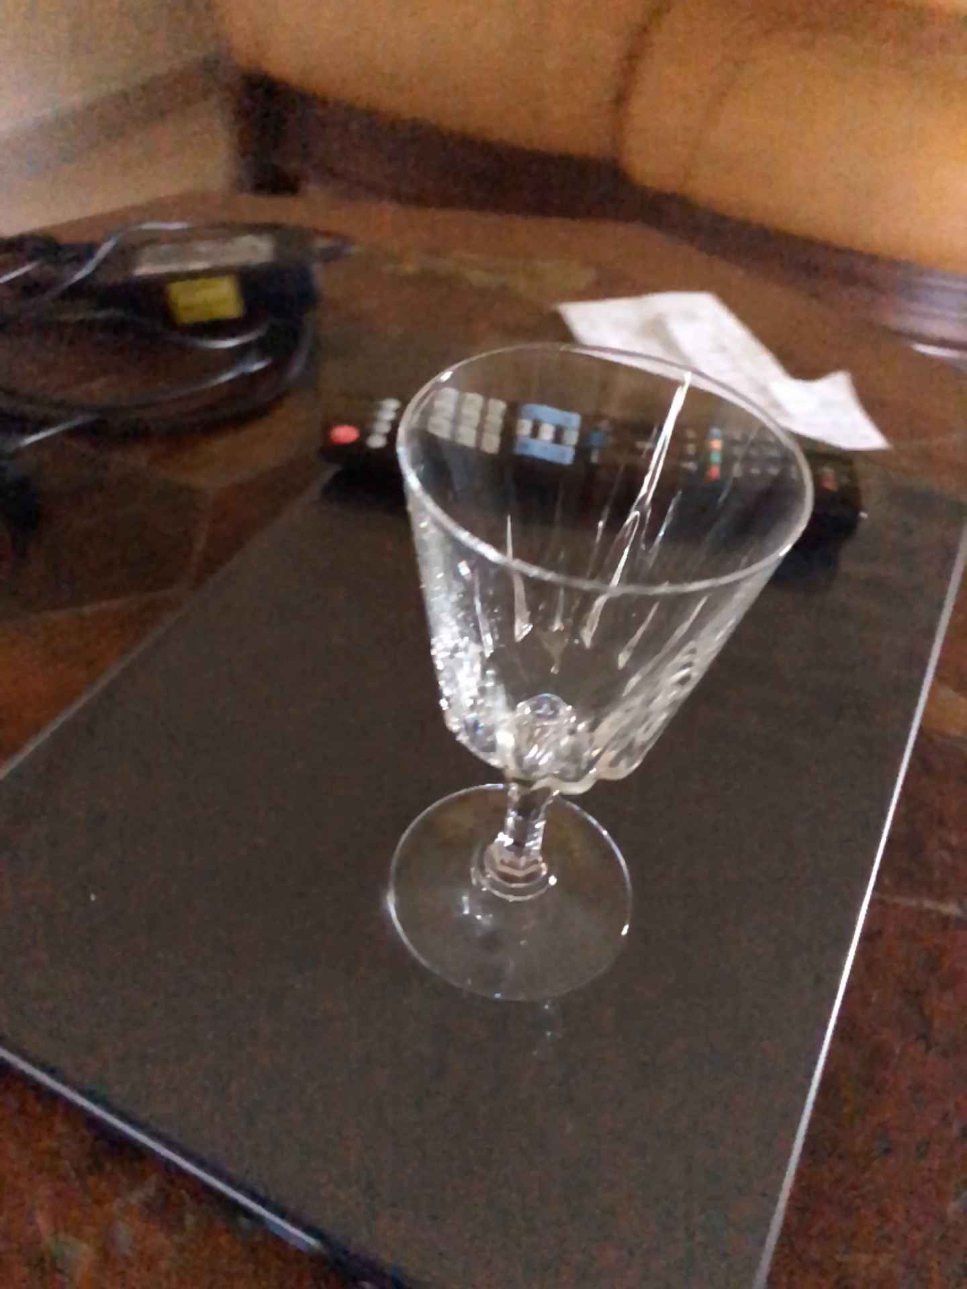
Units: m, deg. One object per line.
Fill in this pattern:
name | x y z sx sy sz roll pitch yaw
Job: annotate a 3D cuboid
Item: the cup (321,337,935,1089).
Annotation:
cup | 0.017 0.021 0.276 0.100 0.159 0.100 3 44 -3
